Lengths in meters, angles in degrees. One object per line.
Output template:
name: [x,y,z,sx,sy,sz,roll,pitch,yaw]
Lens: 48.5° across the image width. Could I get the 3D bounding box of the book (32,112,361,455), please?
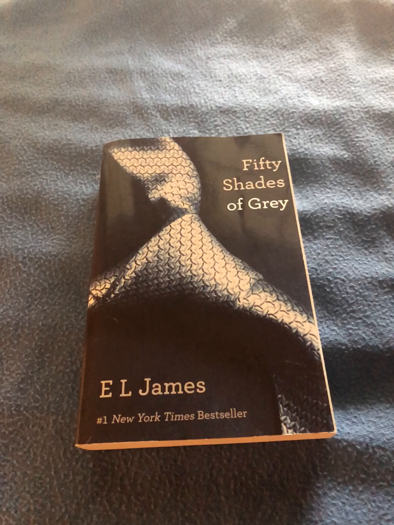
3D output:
book: [-0.003,-0.001,0.270,0.150,0.040,0.211,-3,59,2]
